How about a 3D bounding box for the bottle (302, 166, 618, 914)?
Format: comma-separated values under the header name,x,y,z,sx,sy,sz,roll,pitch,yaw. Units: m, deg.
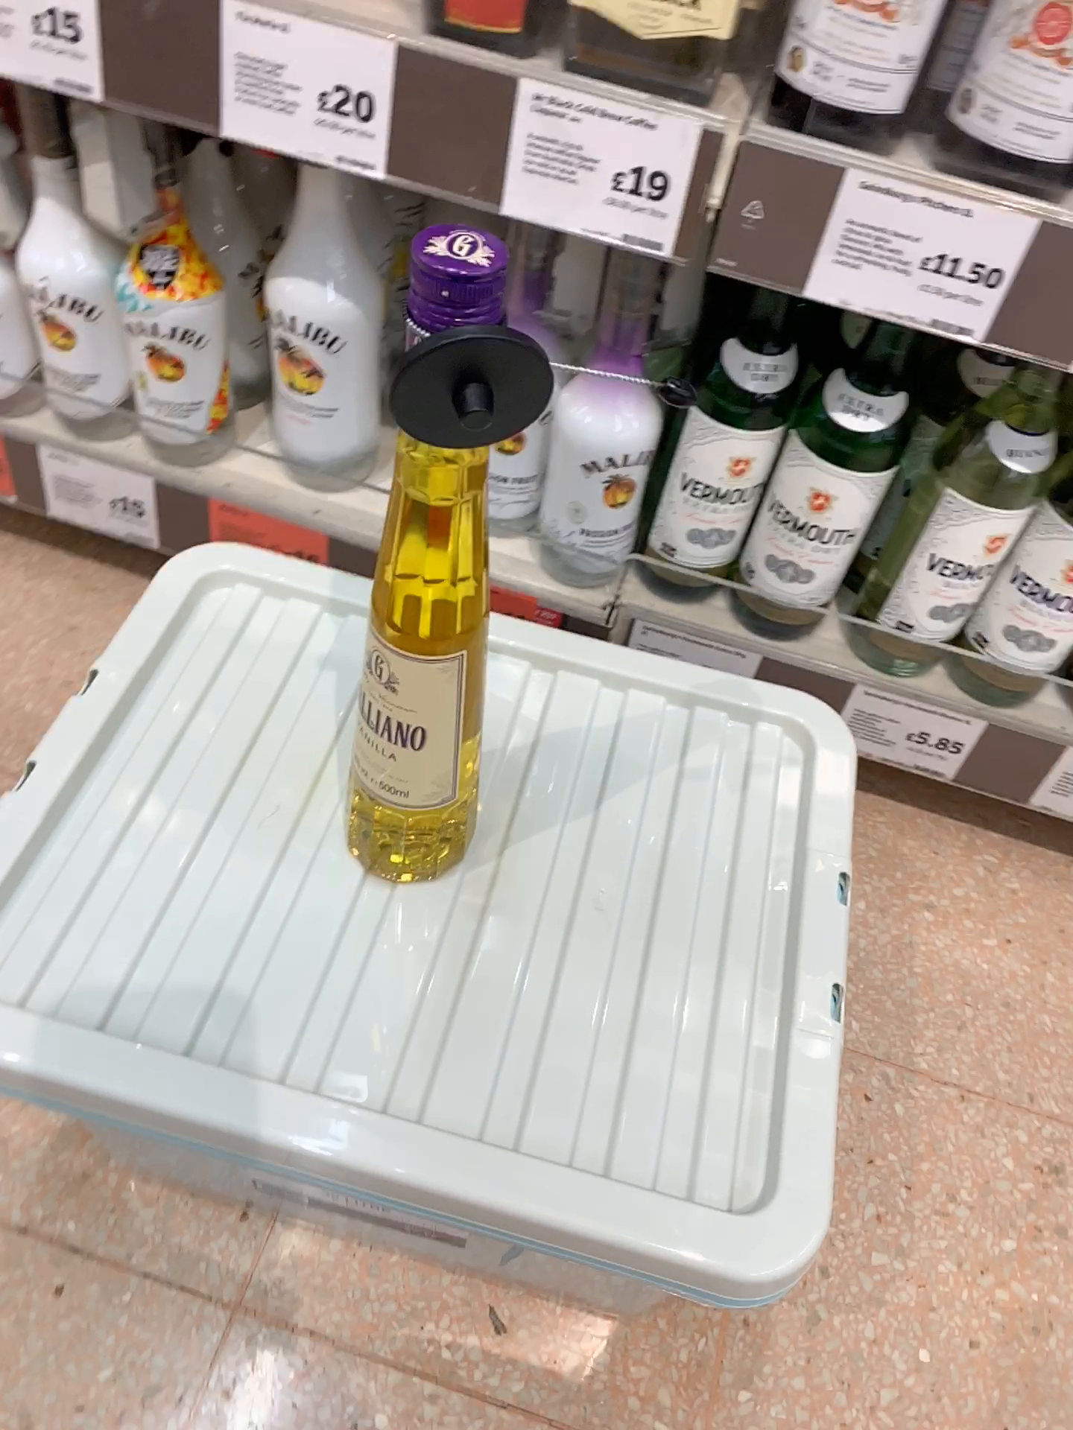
name,x,y,z,sx,sy,sz,roll,pitch,yaw
bottle,-0.047,-0.042,0.482,0.073,0.347,0.070,5,51,-6
